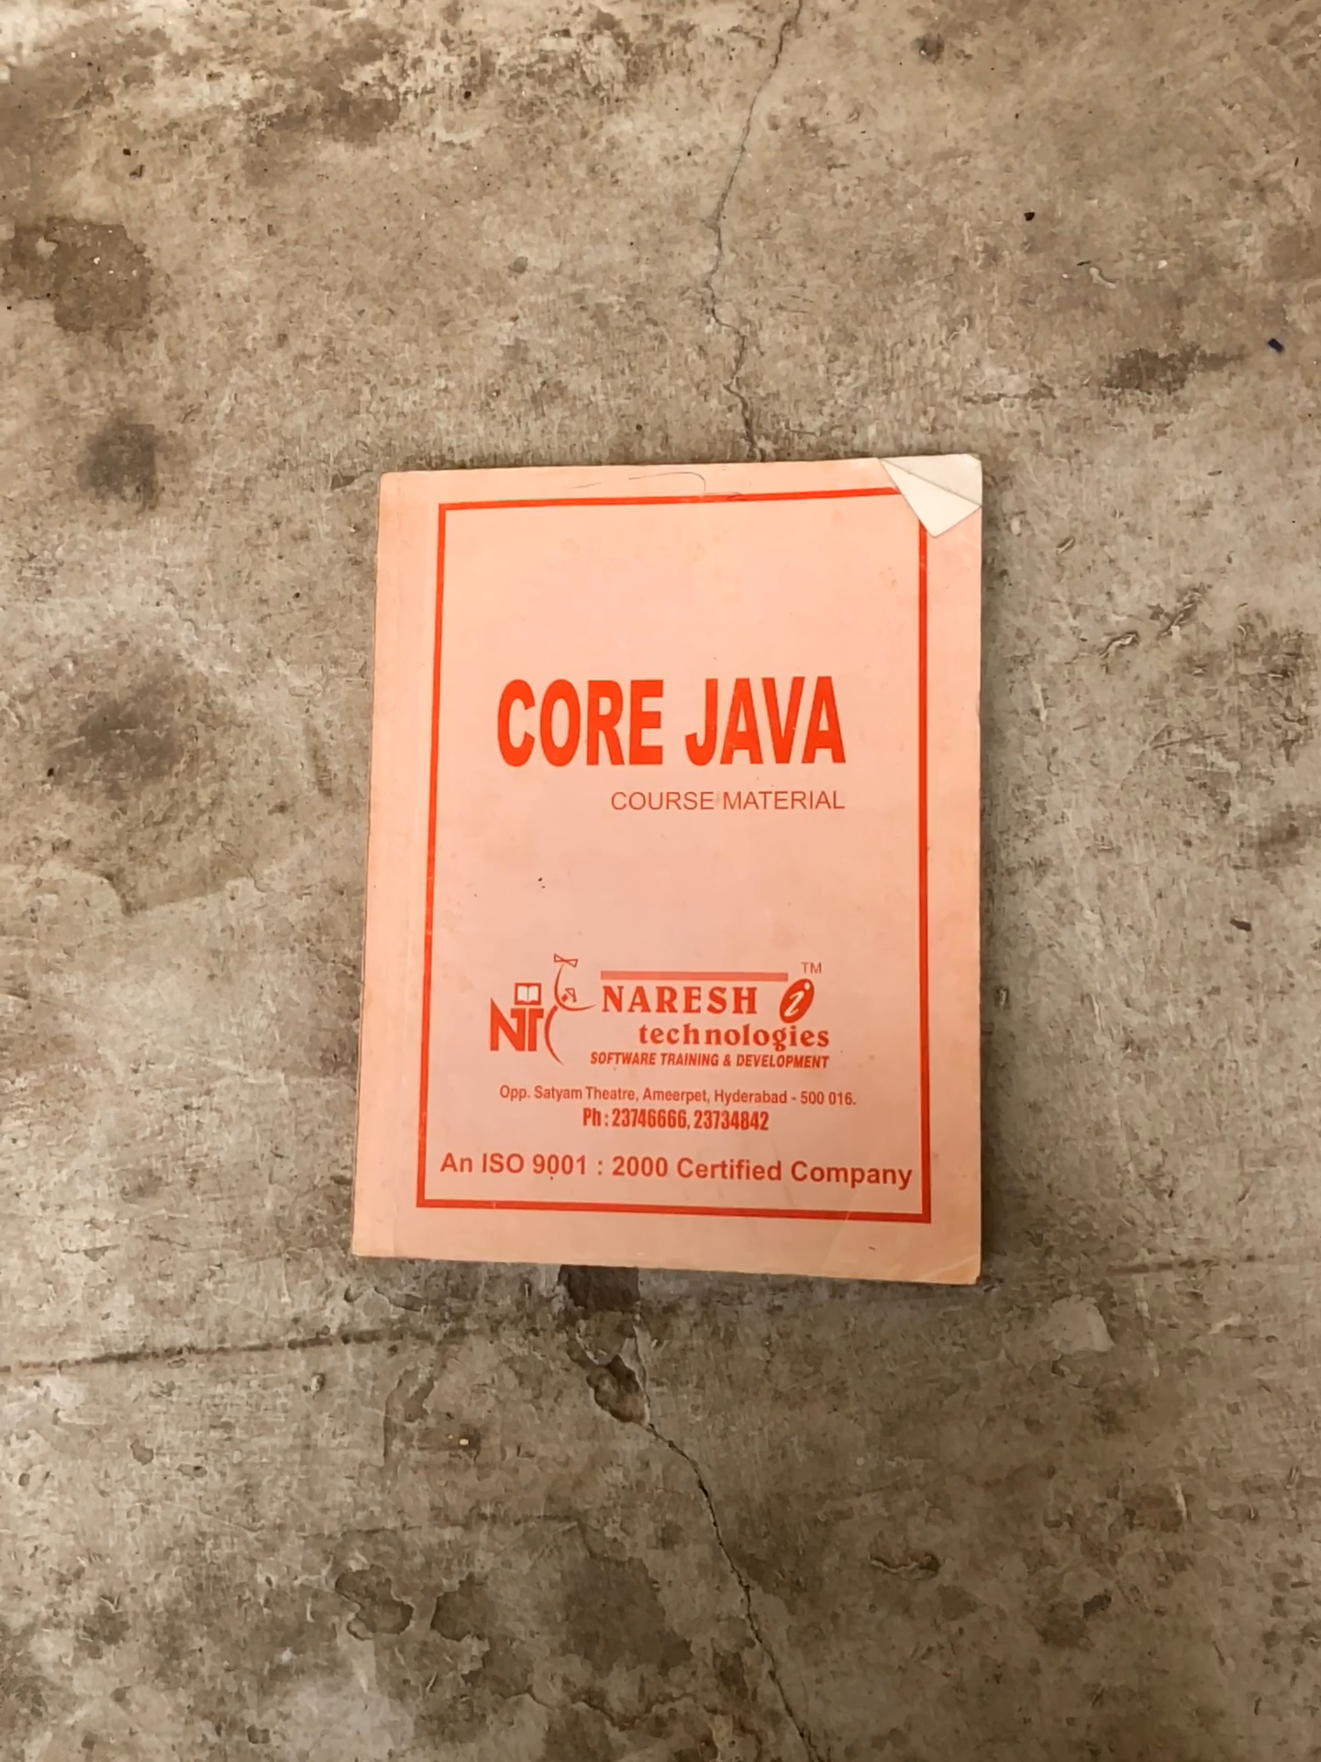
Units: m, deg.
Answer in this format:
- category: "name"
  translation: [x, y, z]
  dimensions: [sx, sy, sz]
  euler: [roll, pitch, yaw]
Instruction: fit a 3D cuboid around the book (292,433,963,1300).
- category: "book"
  translation: [-0.010, -0.006, 0.463]
  dimensions: [0.200, 0.030, 0.260]
  euler: [-1, 82, 8]
